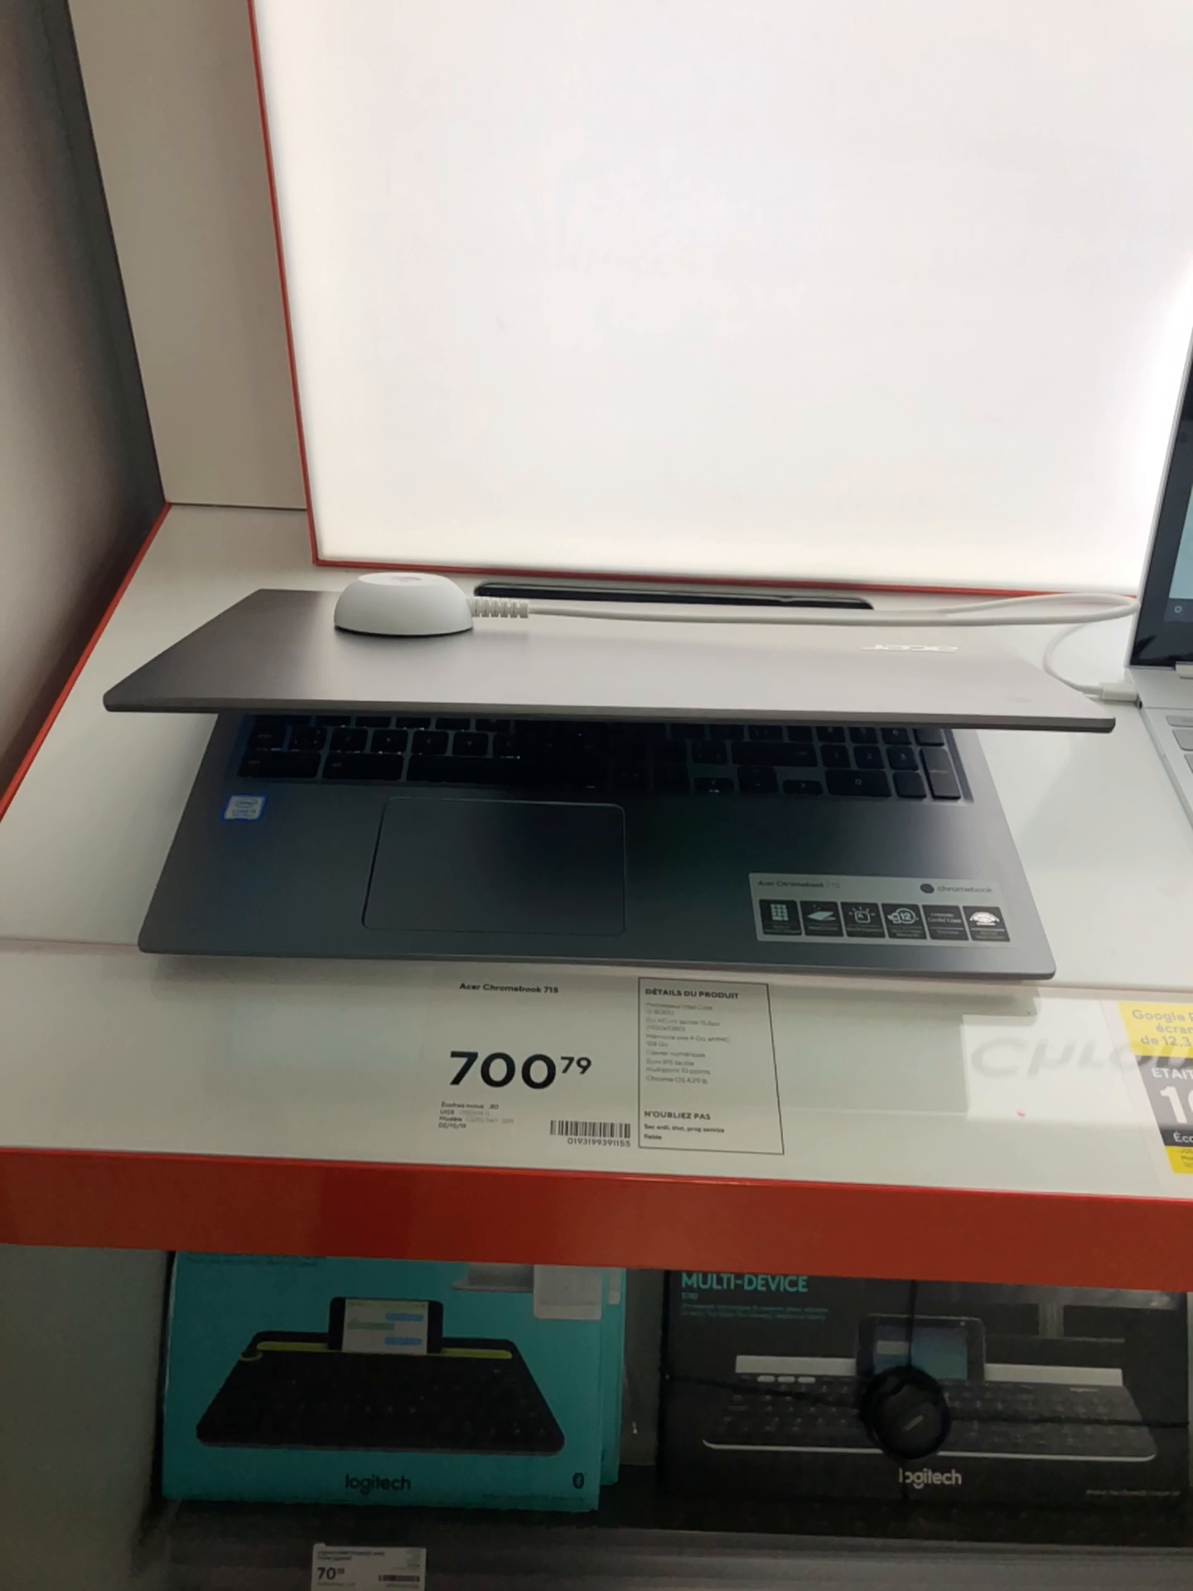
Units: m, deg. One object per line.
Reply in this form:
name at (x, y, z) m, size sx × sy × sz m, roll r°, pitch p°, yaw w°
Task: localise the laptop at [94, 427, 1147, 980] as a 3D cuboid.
laptop at (0.008, -0.050, 0.568) m, size 0.356 × 0.105 × 0.237 m, roll 2°, pitch 40°, yaw -2°
